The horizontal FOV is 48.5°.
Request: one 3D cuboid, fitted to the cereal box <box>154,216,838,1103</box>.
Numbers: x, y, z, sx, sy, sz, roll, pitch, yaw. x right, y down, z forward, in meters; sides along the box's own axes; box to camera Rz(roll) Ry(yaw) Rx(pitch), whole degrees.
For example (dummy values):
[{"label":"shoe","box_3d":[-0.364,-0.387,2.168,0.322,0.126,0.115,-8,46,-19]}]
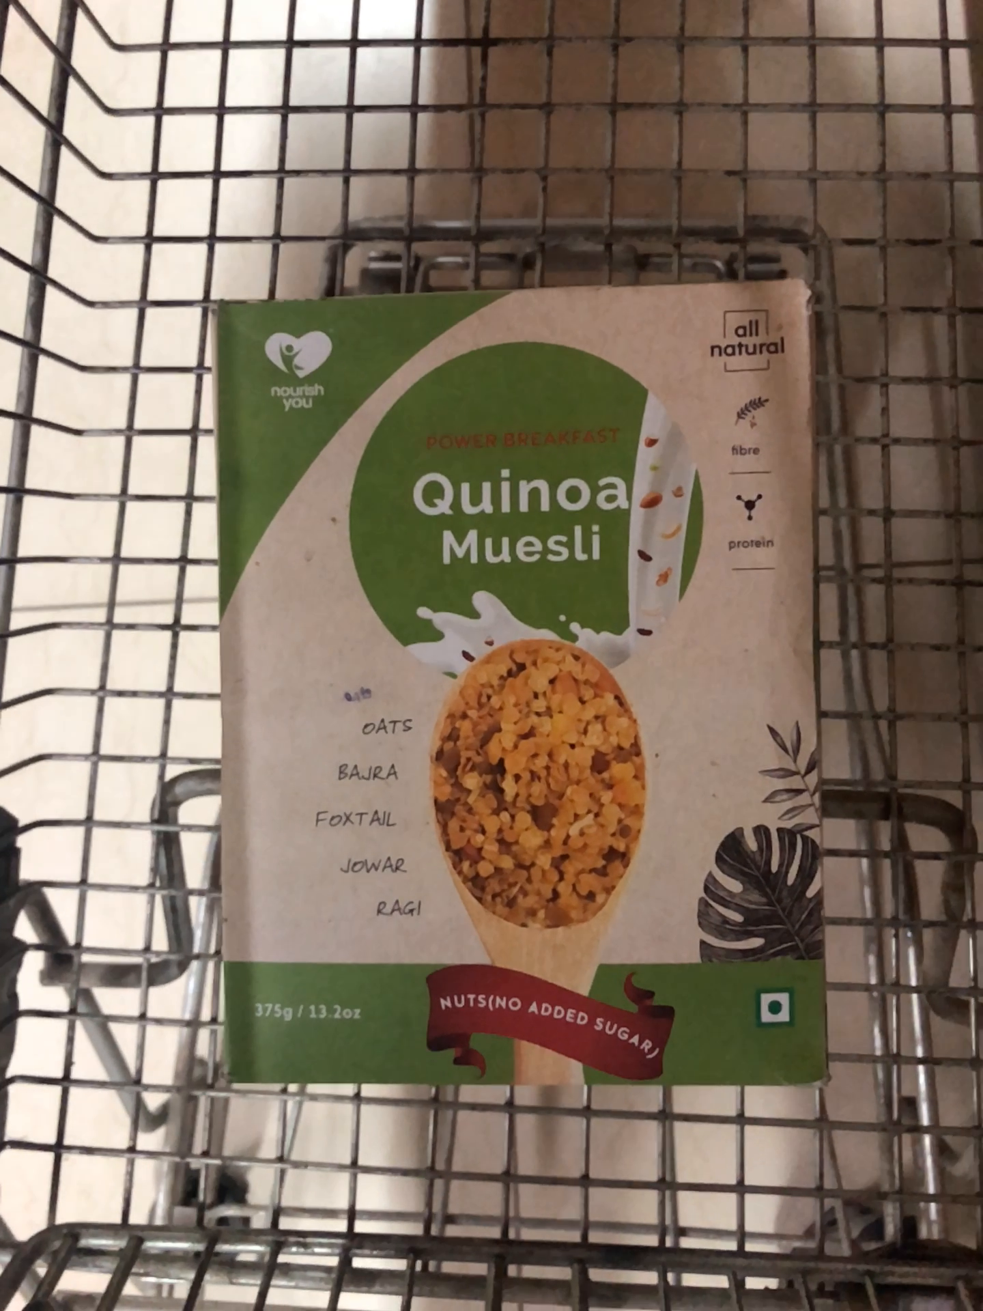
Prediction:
[{"label":"cereal box","box_3d":[0.001,0.002,0.293,0.160,0.060,0.210,-1,89,1]}]
